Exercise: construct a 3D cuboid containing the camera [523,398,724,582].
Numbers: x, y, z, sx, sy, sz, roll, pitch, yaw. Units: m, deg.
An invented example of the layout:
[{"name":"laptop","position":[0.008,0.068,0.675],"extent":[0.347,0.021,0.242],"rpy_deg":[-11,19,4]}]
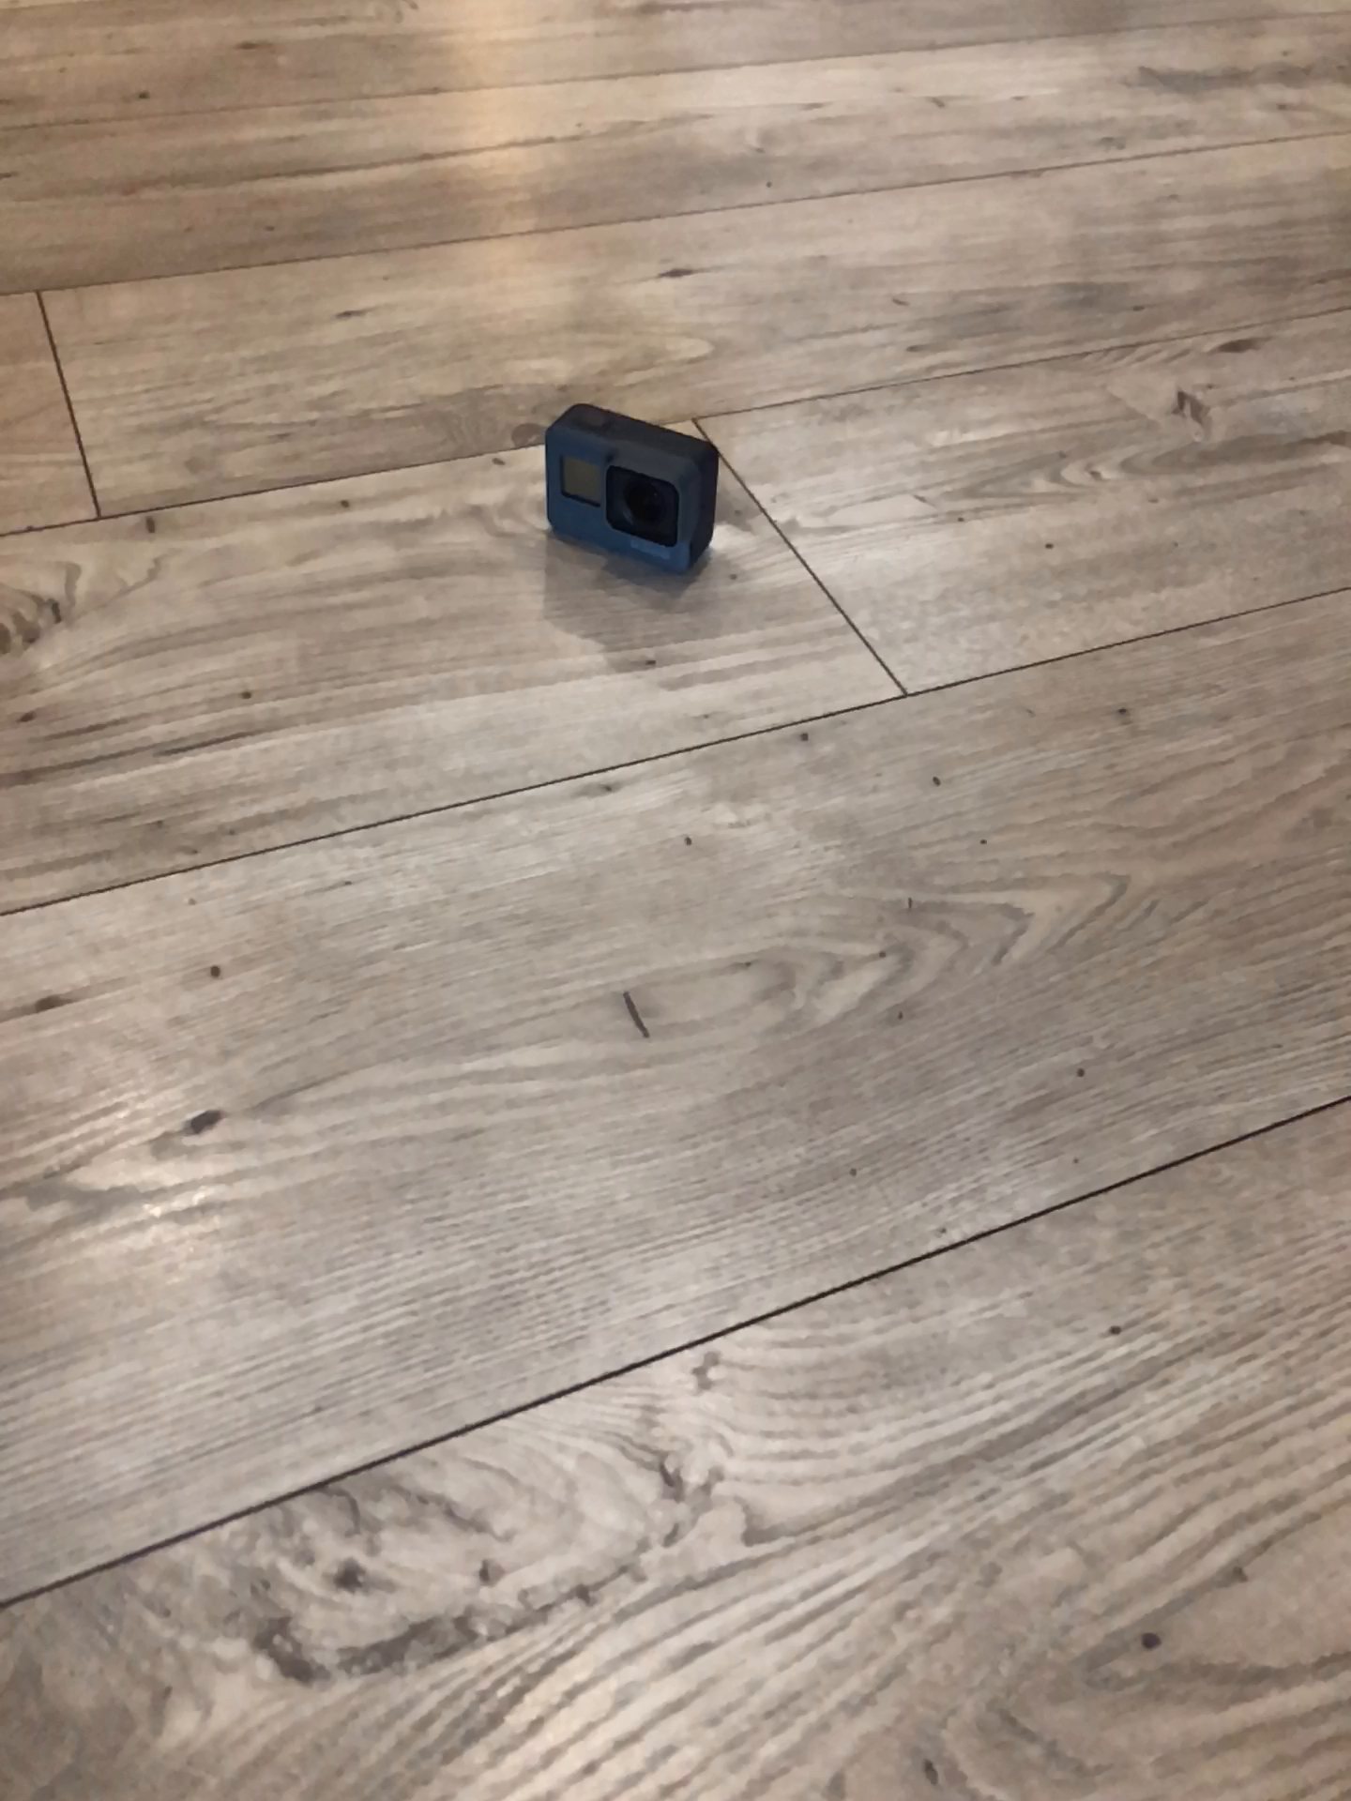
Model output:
[{"name":"camera","position":[-0.020,-0.152,0.551],"extent":[0.065,0.040,0.032],"rpy_deg":[21,49,15]}]
